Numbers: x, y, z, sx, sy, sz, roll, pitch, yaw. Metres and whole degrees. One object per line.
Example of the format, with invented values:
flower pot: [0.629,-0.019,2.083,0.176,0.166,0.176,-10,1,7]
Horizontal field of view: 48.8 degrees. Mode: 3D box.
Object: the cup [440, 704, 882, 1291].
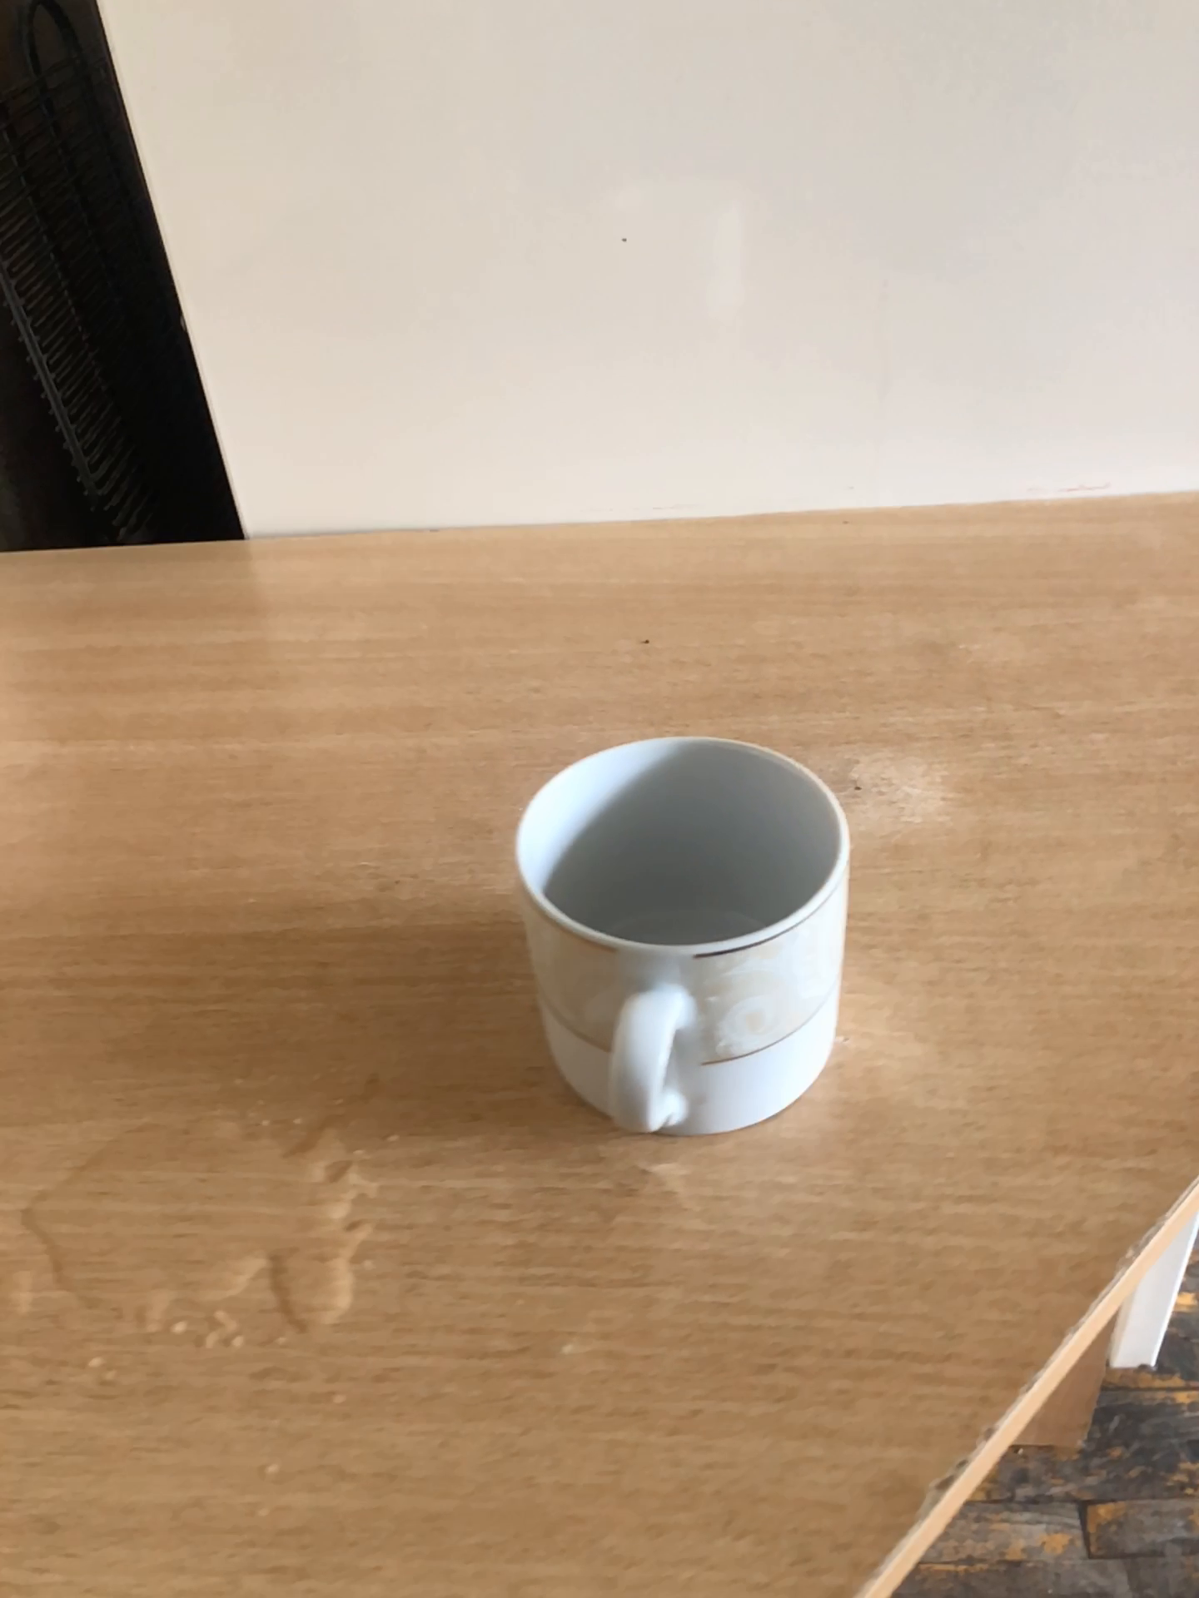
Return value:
cup: [0.021,0.039,0.303,0.074,0.069,0.105,5,39,14]
